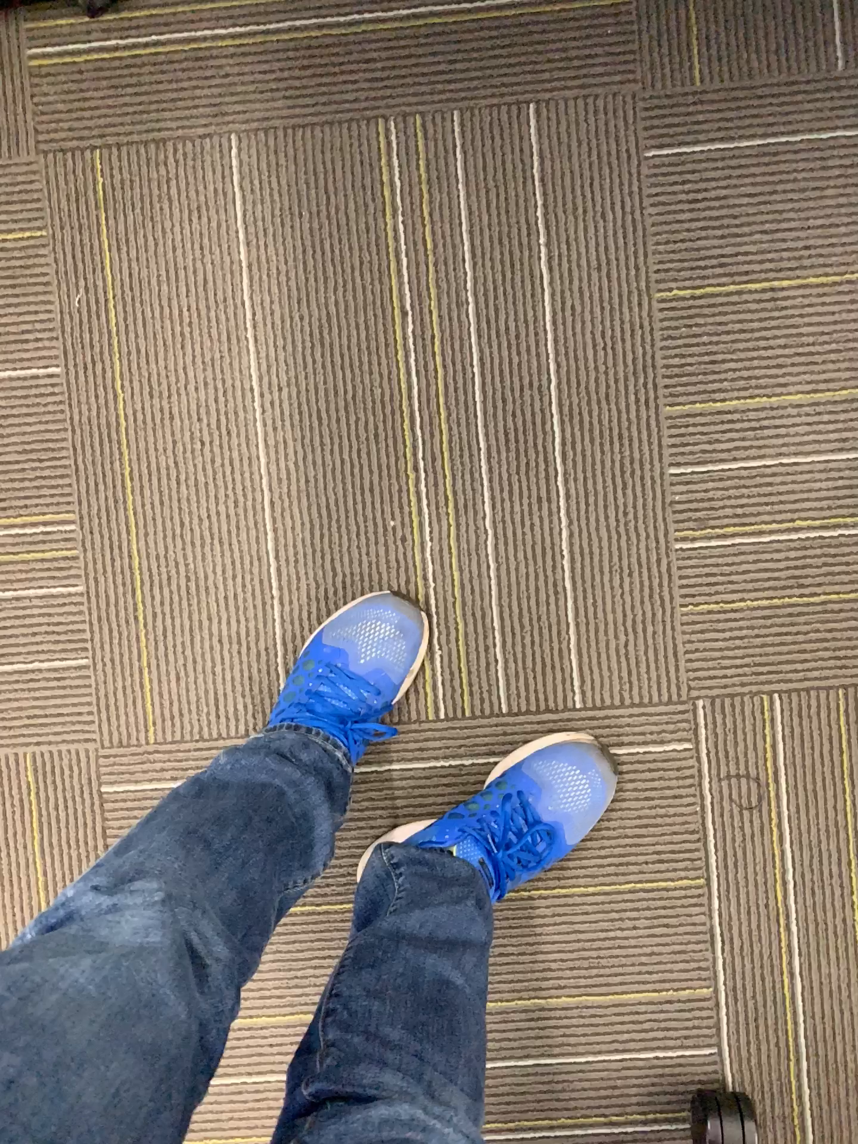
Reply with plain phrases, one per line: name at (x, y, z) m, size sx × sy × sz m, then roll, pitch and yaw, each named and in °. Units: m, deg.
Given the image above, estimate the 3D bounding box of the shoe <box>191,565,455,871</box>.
shoe at (-0.109, 0.151, 0.940) m, size 0.125 × 0.077 × 0.298 m, roll 35°, pitch 93°, yaw 1°

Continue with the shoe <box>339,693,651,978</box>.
shoe at (0.067, 0.274, 0.930) m, size 0.299 × 0.077 × 0.128 m, roll -37°, pitch 90°, yaw 3°
